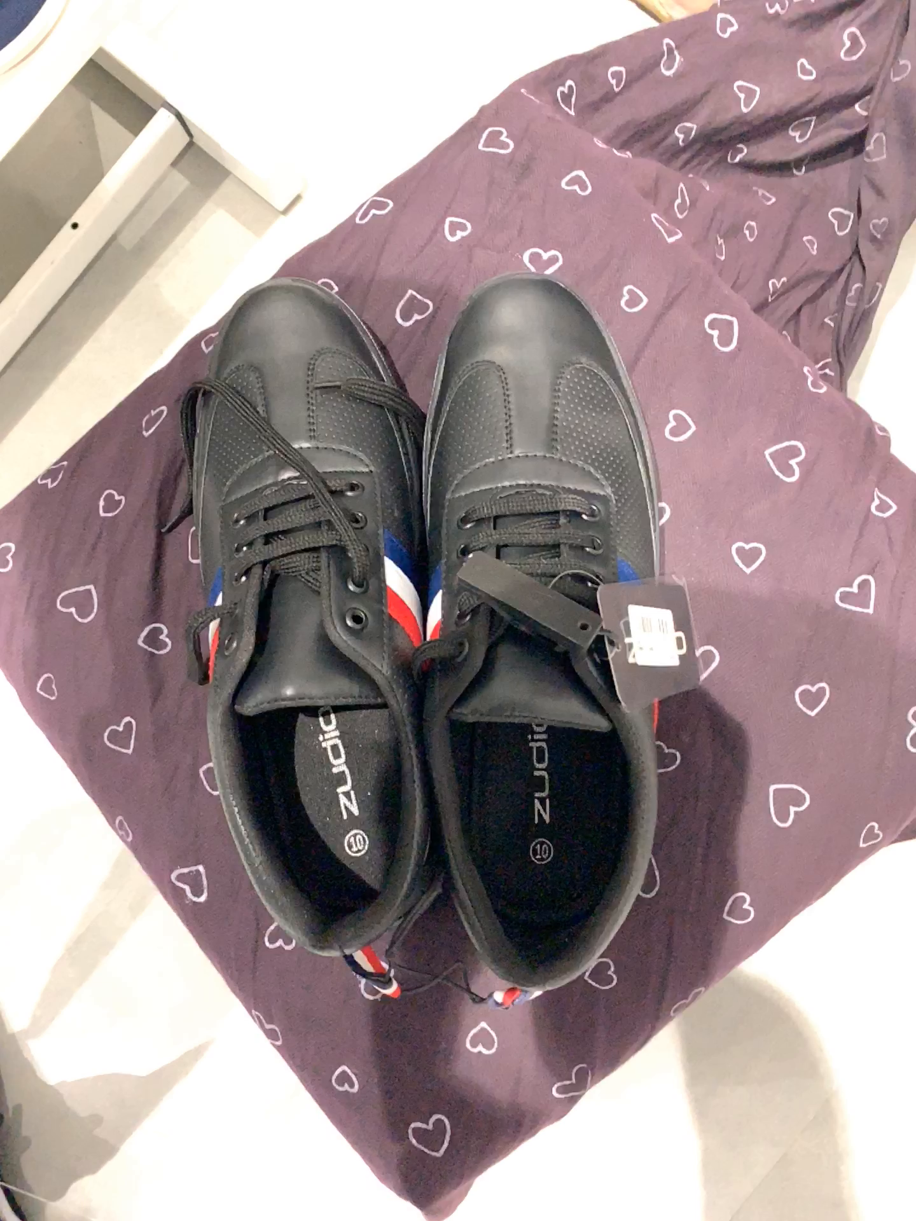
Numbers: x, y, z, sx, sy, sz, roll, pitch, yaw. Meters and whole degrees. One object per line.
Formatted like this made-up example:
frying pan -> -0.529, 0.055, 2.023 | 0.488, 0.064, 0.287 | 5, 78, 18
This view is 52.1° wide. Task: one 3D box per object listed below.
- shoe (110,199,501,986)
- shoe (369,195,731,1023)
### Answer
shoe -> -0.066, -0.009, 0.427 | 0.120, 0.090, 0.310 | -9, 81, 4
shoe -> 0.032, -0.003, 0.383 | 0.110, 0.080, 0.300 | -4, 81, 5
